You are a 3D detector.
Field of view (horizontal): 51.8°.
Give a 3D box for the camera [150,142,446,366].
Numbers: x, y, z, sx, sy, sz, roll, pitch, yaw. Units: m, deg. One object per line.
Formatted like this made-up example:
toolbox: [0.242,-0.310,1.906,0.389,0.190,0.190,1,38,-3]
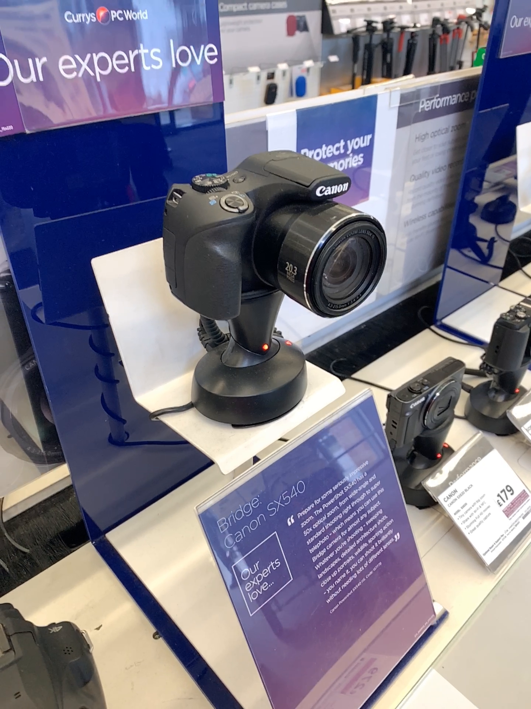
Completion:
camera: [0.016,-0.068,0.319,0.120,0.069,0.111,-22,40,-29]
